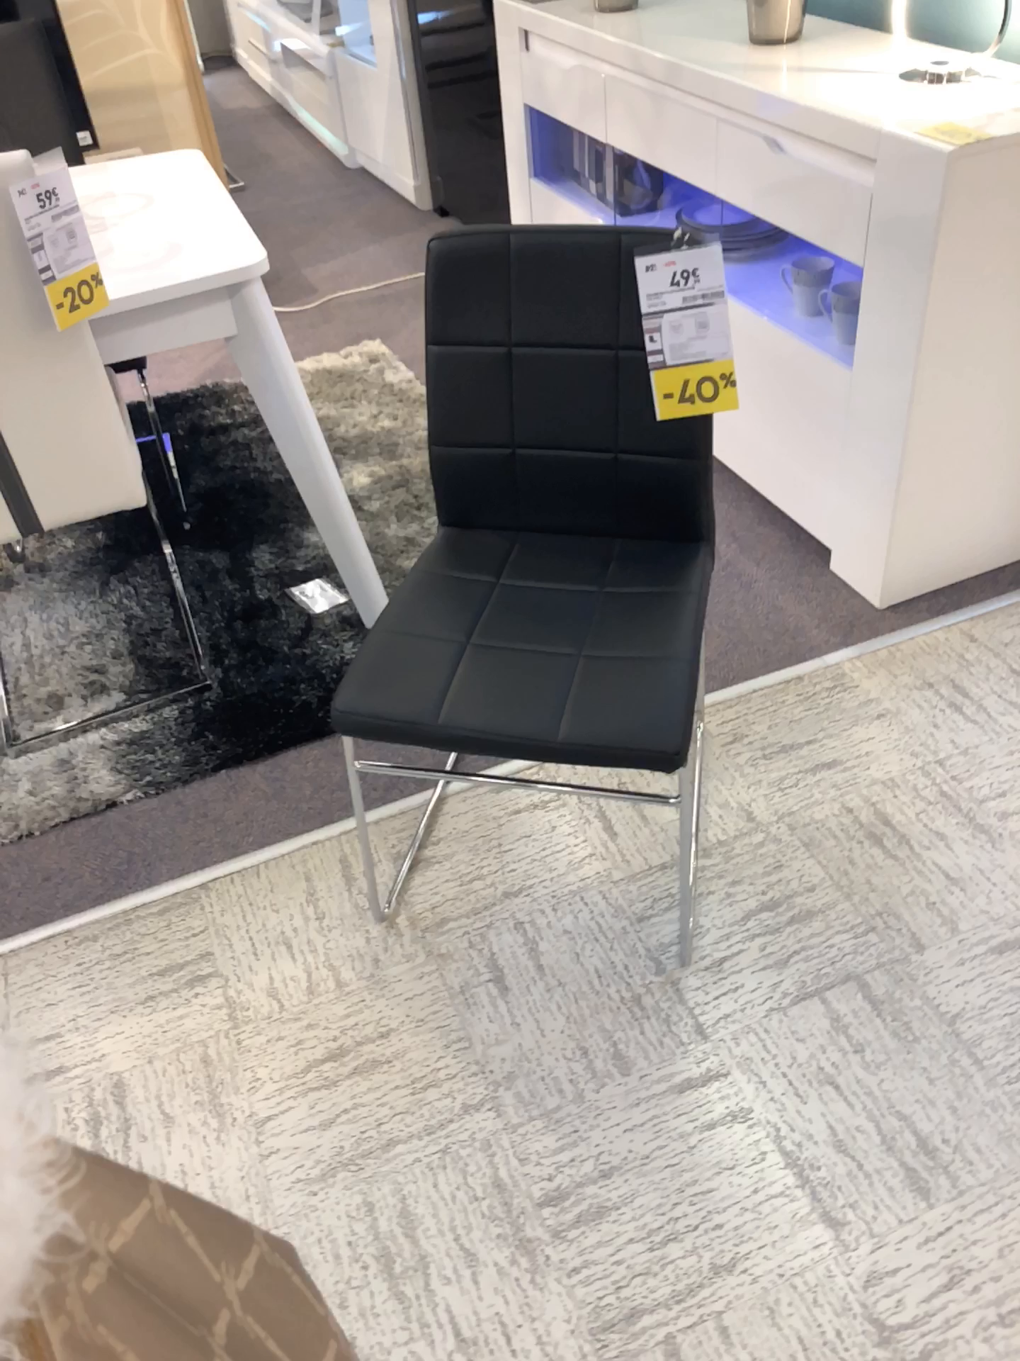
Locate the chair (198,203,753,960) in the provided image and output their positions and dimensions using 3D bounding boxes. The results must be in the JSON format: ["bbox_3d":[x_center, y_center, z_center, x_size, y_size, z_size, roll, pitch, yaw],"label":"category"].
[{"bbox_3d":[0.035,-0.125,1.510,0.519,0.825,0.539,3,40,12],"label":"chair"}]
